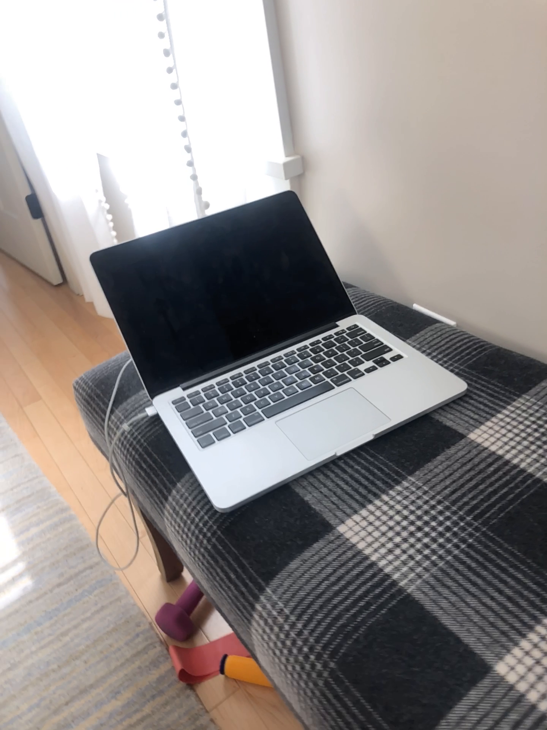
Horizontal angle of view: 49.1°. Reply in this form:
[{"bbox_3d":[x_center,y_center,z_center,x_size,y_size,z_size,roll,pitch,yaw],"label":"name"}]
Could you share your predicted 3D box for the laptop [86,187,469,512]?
[{"bbox_3d":[-0.015,-0.060,0.717,0.306,0.142,0.368,-23,36,-18],"label":"laptop"}]
